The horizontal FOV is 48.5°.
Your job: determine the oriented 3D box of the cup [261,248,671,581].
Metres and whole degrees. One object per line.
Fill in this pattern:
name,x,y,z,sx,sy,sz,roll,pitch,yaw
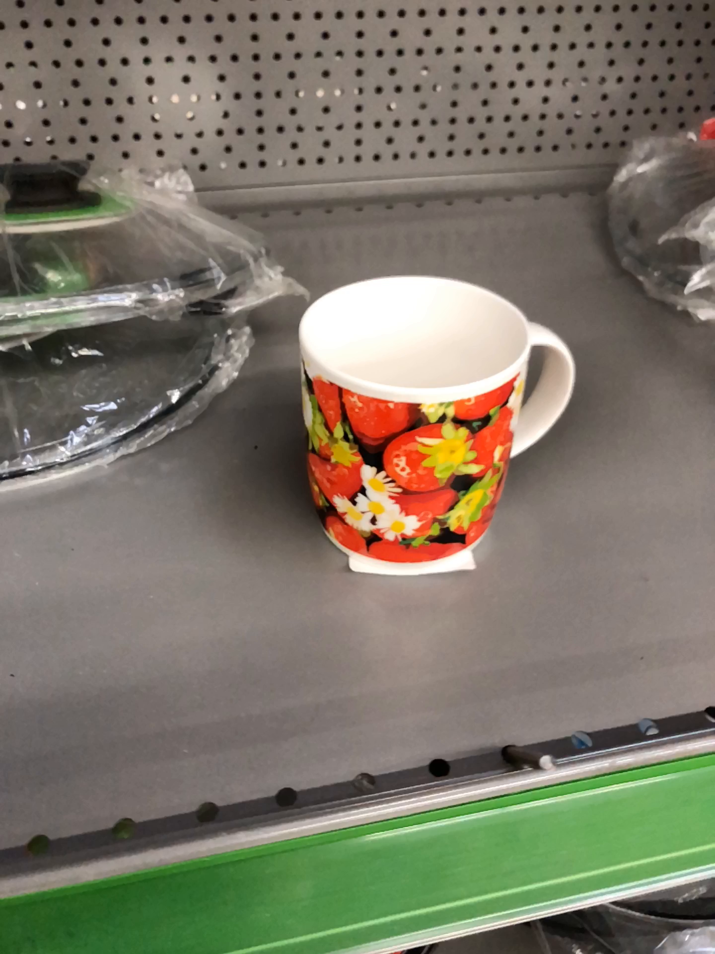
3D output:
cup,0.036,-0.030,0.323,0.128,0.078,0.091,-11,41,-14
